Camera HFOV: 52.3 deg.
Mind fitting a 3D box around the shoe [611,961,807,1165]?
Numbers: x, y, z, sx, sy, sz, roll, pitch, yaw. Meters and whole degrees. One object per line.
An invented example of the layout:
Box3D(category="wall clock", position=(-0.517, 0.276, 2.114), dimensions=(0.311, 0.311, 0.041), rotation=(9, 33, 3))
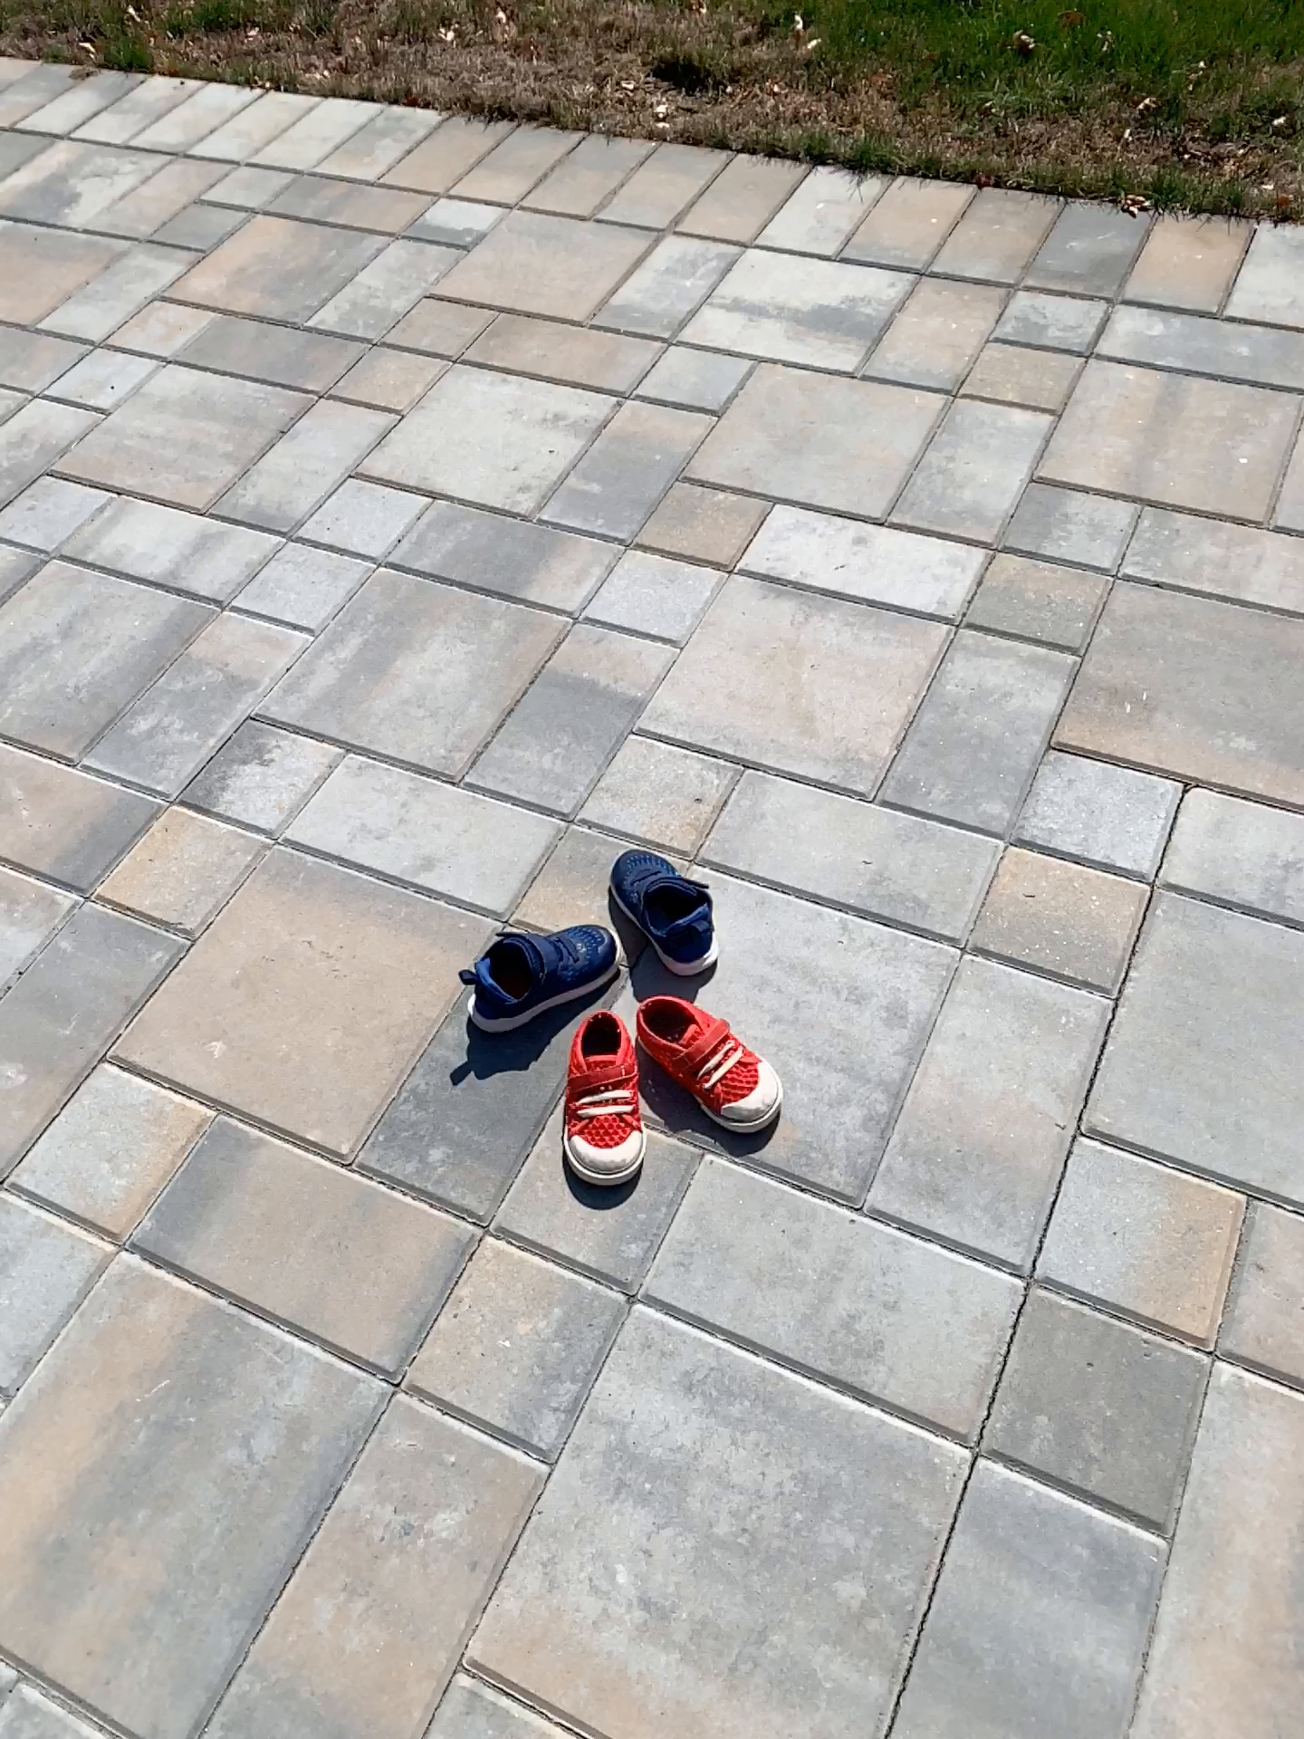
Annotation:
Box3D(category="shoe", position=(0.051, 0.172, 1.192), dimensions=(0.080, 0.070, 0.161), rotation=(-40, 60, -22))

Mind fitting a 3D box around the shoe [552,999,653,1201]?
Box3D(category="shoe", position=(-0.044, 0.206, 1.193), dimensions=(0.080, 0.070, 0.160), rotation=(-4, 53, 2))

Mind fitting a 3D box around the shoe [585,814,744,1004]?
Box3D(category="shoe", position=(0.012, 0.037, 1.300), dimensions=(0.080, 0.070, 0.161), rotation=(-28, 56, -15))

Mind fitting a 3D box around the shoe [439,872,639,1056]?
Box3D(category="shoe", position=(-0.105, 0.088, 1.255), dimensions=(0.160, 0.080, 0.080), rotation=(-27, 56, -15))
